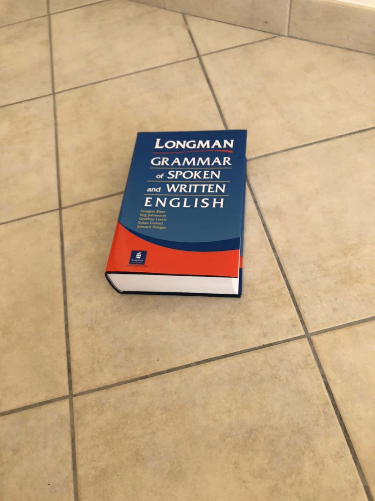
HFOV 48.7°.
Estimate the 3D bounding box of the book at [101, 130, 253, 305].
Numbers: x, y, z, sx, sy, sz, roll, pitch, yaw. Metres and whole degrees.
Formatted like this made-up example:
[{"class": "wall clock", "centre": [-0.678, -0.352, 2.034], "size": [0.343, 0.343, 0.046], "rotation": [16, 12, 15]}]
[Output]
[{"class": "book", "centre": [-0.002, -0.056, 0.583], "size": [0.177, 0.060, 0.251], "rotation": [1, 59, 10]}]
